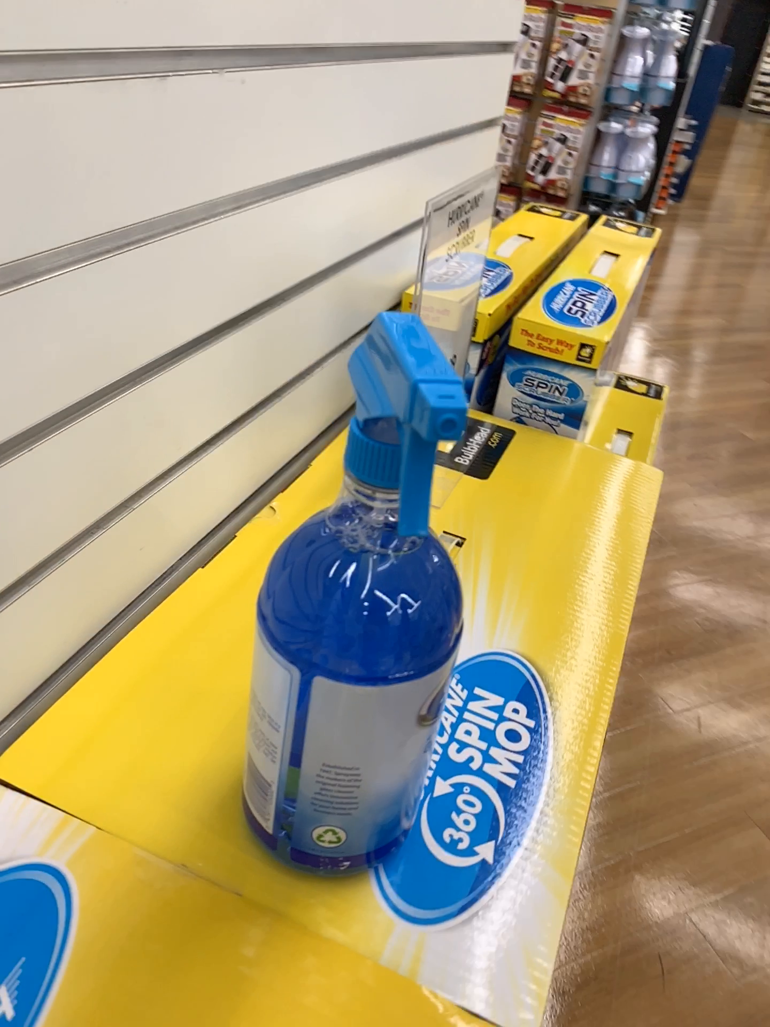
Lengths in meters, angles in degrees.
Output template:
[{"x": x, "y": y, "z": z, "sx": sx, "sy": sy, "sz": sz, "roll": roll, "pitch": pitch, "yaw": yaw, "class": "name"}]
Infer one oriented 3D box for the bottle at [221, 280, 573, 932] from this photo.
[{"x": -0.010, "y": 0.047, "z": 0.318, "sx": 0.090, "sy": 0.239, "sz": 0.111, "roll": 6, "pitch": 34, "yaw": -4, "class": "bottle"}]
